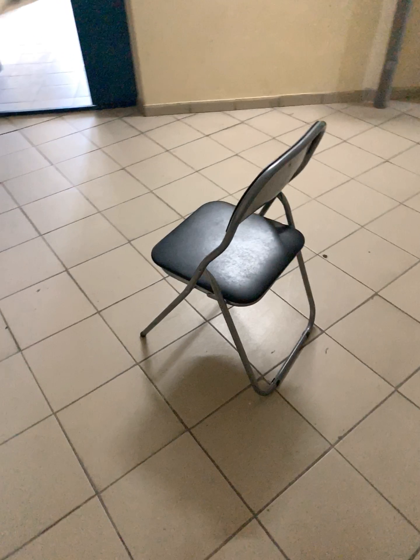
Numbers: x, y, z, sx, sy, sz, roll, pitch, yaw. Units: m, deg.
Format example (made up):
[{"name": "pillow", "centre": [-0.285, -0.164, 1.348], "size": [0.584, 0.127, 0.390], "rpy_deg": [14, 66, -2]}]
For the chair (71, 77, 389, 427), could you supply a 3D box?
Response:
[{"name": "chair", "centre": [0.073, -0.102, 1.299], "size": [0.561, 0.727, 0.571], "rpy_deg": [26, 50, 26]}]
